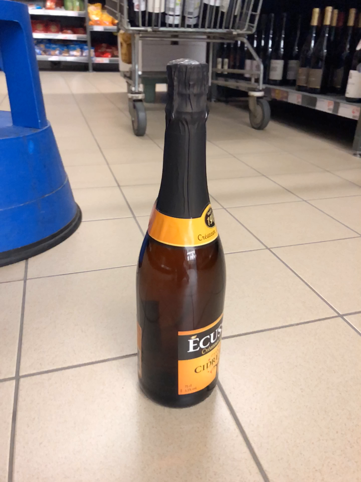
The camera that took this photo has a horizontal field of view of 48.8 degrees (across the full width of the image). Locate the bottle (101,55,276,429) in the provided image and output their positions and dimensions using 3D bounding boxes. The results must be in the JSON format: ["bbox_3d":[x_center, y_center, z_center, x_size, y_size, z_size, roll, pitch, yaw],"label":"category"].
[{"bbox_3d":[0.004,0.004,0.348,0.090,0.298,0.091,1,25,-1],"label":"bottle"}]
